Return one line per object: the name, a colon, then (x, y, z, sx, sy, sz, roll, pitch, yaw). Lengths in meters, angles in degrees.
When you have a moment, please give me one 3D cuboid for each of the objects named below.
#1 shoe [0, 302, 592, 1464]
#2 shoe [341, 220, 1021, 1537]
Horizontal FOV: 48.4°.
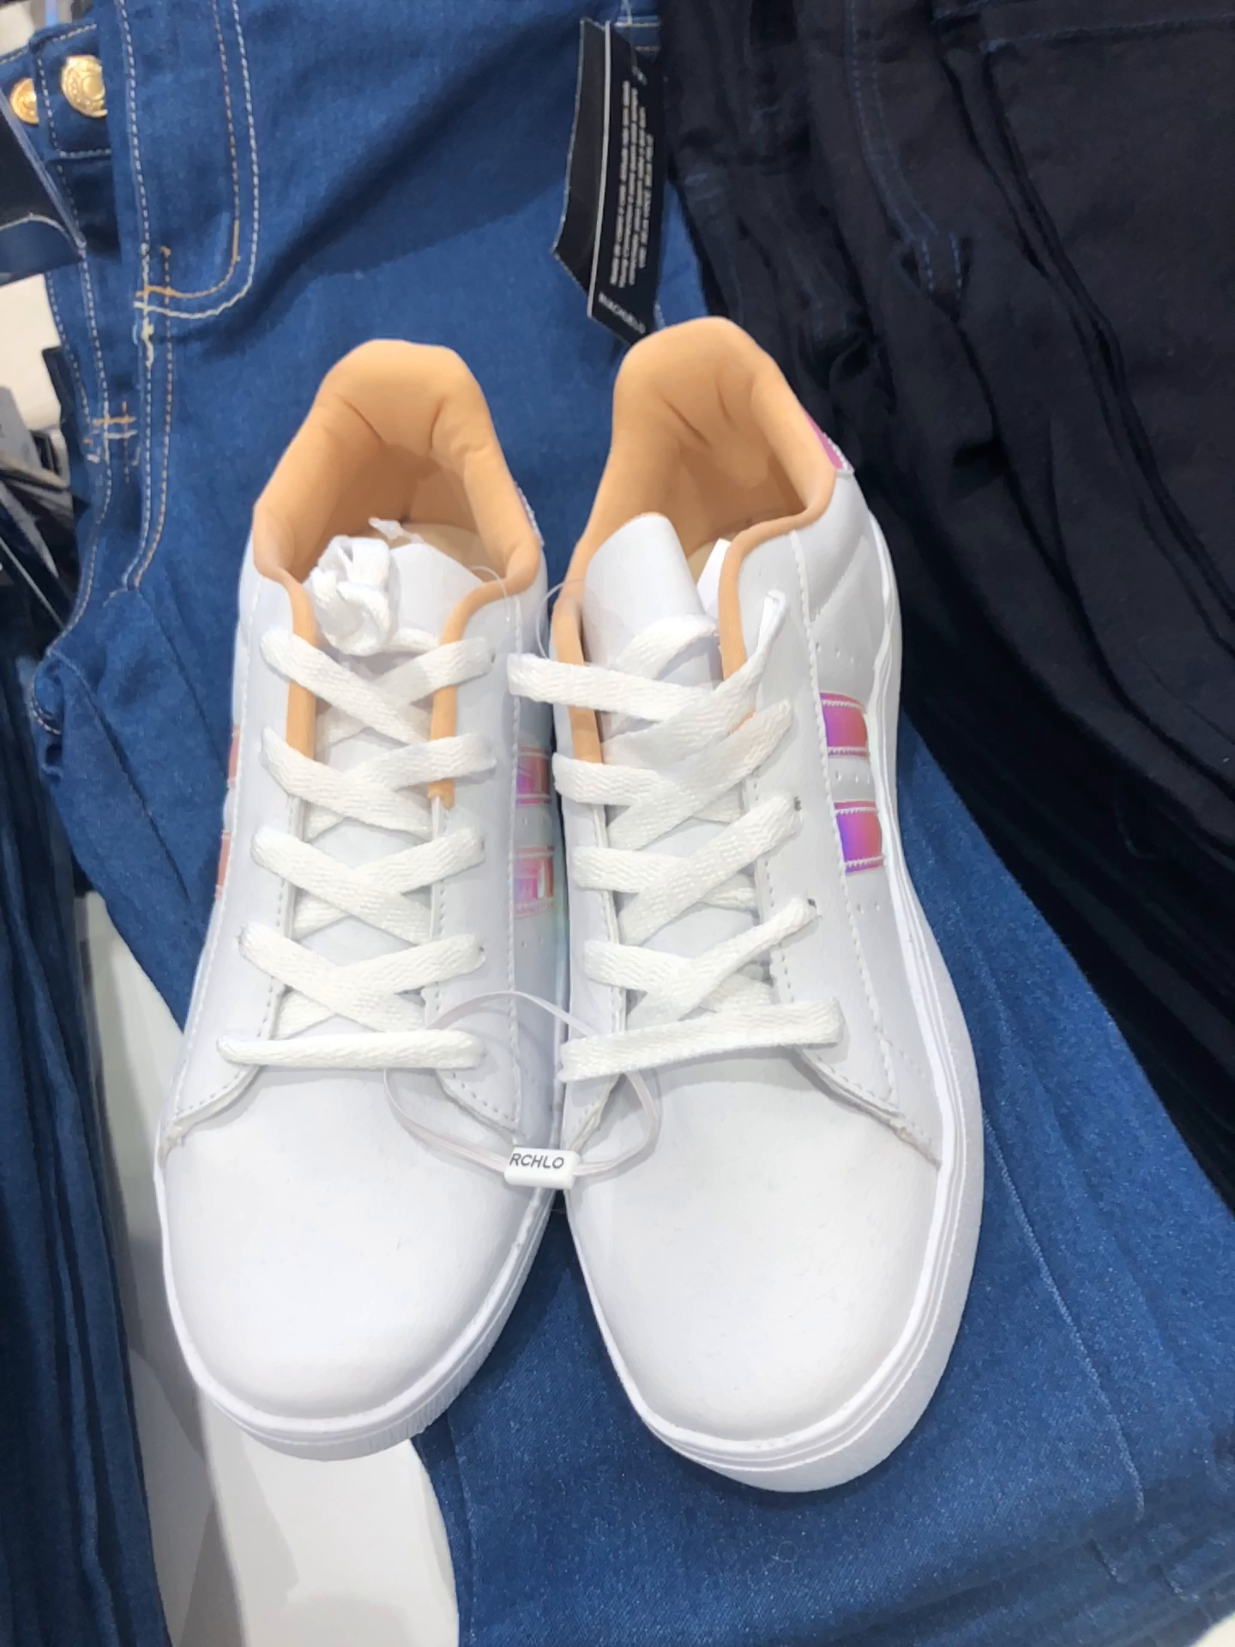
shoe: (-0.055, 0.005, 0.335, 0.090, 0.109, 0.261, 1, 58, -1)
shoe: (0.021, 0.006, 0.304, 0.090, 0.109, 0.261, -9, 57, 15)
